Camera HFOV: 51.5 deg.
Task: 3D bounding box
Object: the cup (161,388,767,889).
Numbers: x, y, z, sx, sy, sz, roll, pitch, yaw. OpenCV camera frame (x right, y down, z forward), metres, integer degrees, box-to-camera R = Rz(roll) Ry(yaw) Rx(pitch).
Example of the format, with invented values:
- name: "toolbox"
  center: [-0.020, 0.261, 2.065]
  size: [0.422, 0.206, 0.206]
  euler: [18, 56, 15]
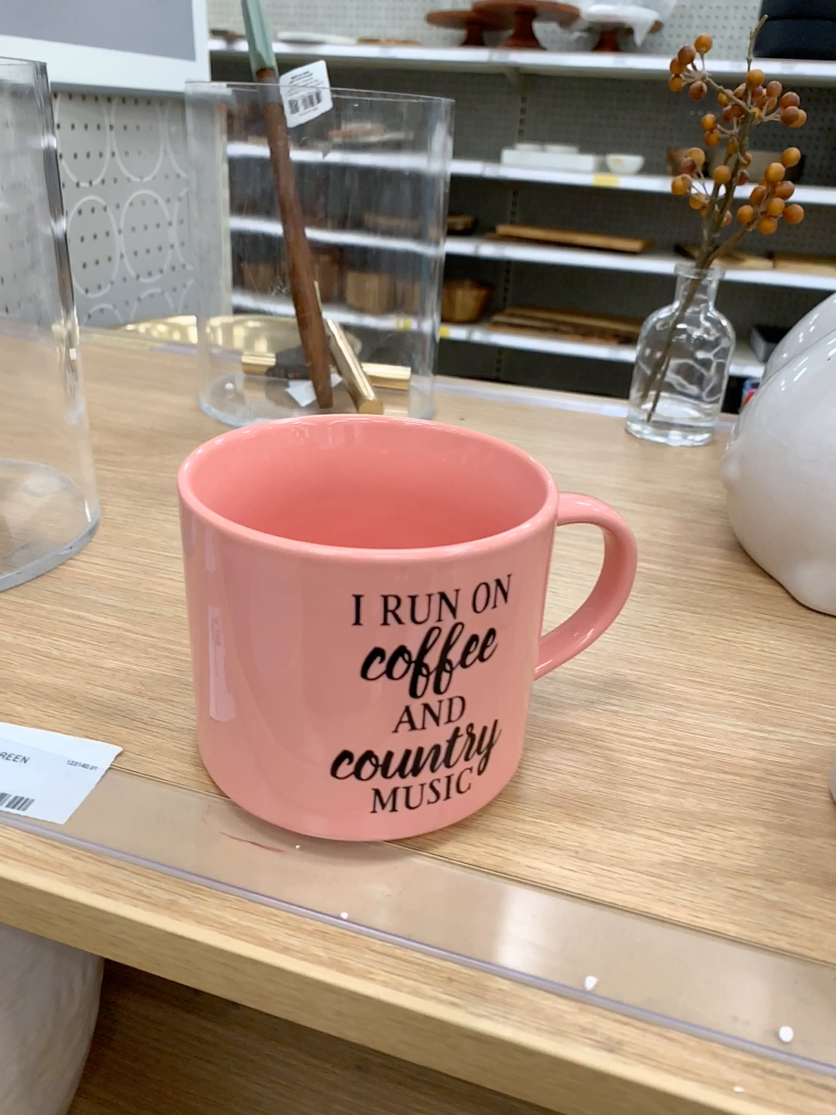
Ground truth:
- name: "cup"
  center: [0.001, 0.010, 0.248]
  size: [0.133, 0.085, 0.104]
  euler: [-6, 28, -17]
